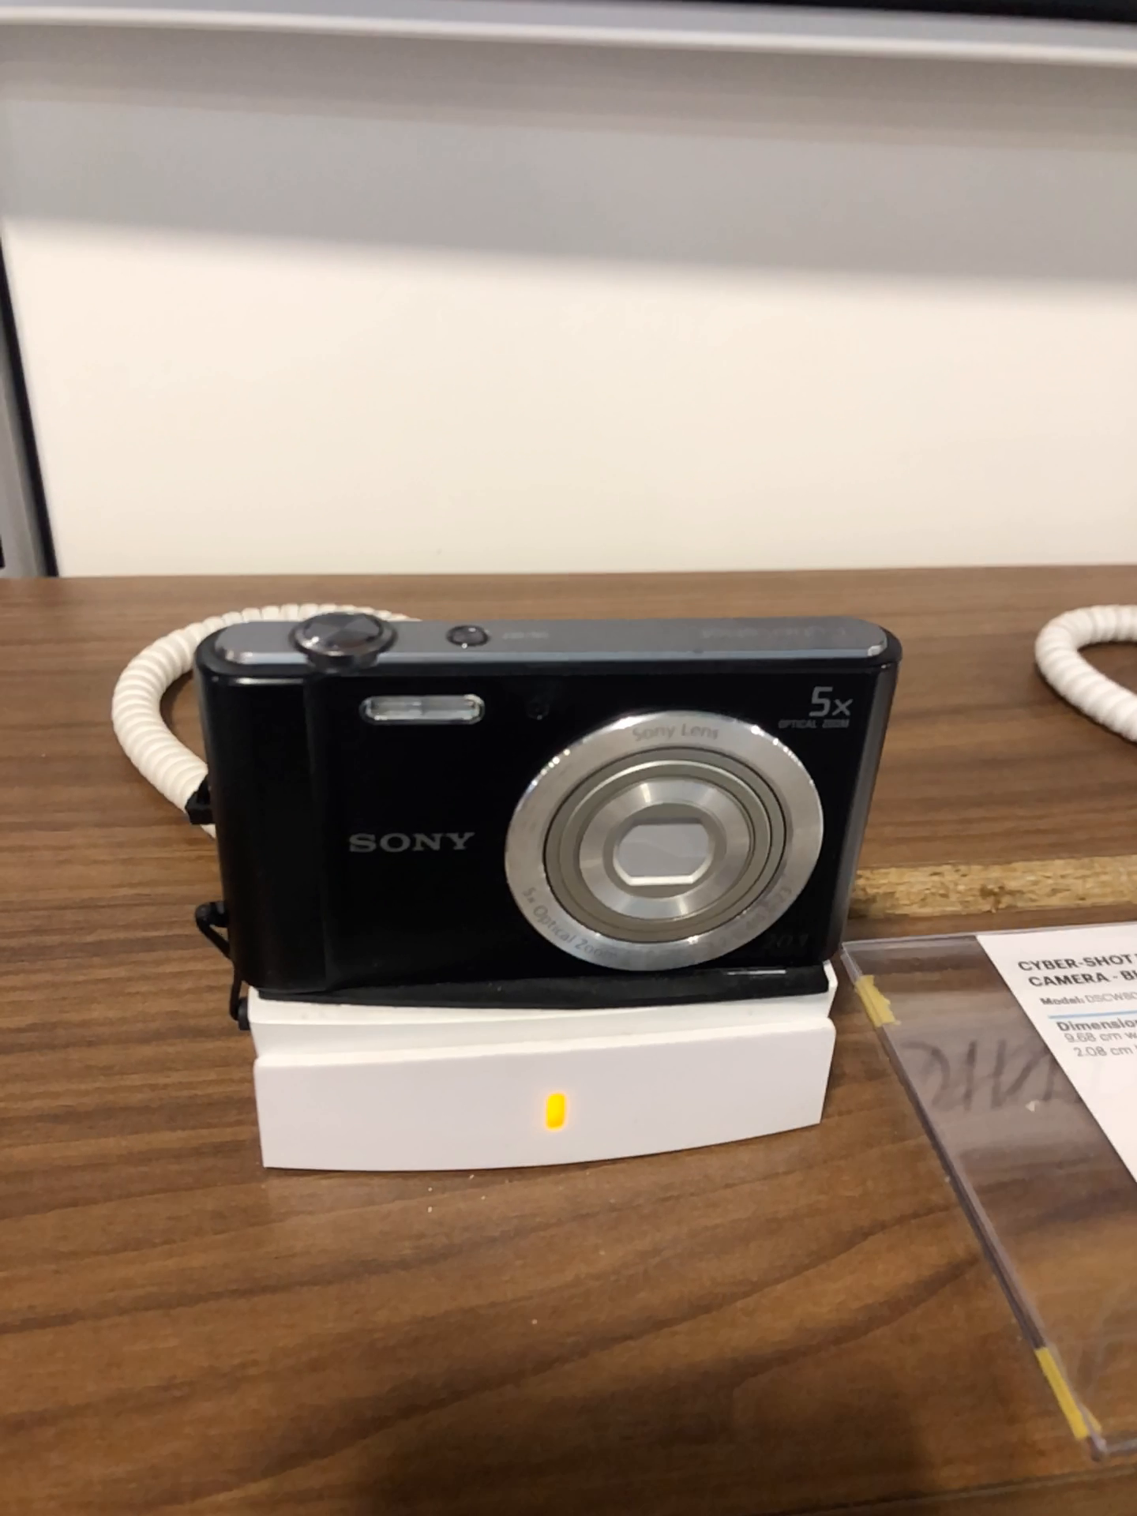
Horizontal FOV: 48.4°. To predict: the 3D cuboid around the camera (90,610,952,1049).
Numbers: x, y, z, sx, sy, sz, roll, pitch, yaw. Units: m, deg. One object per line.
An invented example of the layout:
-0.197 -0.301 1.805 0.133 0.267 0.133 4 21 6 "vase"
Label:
-0.006 0.009 0.172 0.100 0.050 0.030 0 29 -4 "camera"
